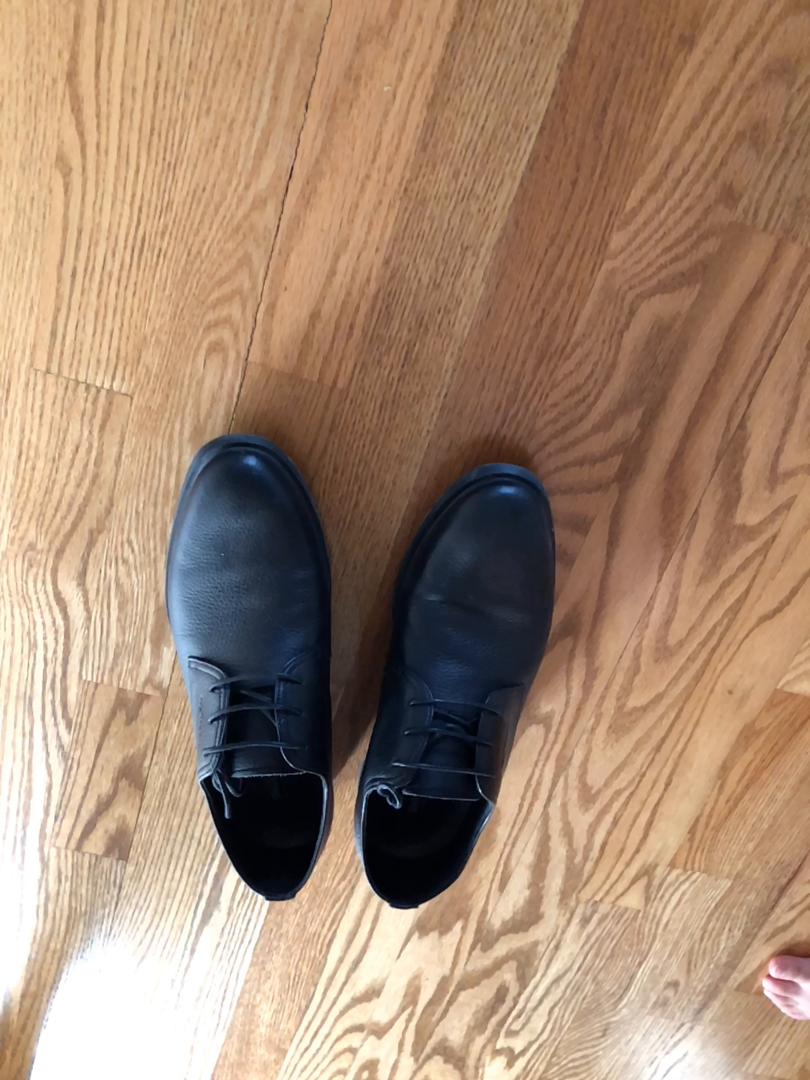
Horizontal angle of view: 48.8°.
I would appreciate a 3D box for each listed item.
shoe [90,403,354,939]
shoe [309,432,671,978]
[{"bbox_3d":[-0.093,0.083,0.545,0.110,0.124,0.305,-2,116,-1],"label":"shoe"},{"bbox_3d":[0.034,0.105,0.547,0.110,0.124,0.300,14,115,-9],"label":"shoe"}]
